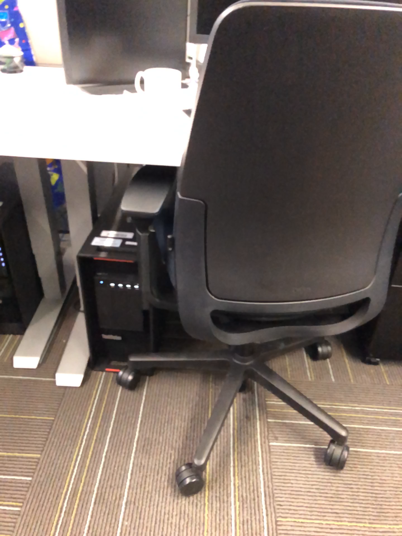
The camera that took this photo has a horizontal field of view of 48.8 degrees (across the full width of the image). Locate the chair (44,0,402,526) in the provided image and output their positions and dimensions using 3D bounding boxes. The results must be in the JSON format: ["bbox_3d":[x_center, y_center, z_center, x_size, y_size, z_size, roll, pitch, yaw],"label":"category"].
[{"bbox_3d":[0.130,-0.057,1.066,0.710,1.044,0.724,-2,35,-7],"label":"chair"}]
